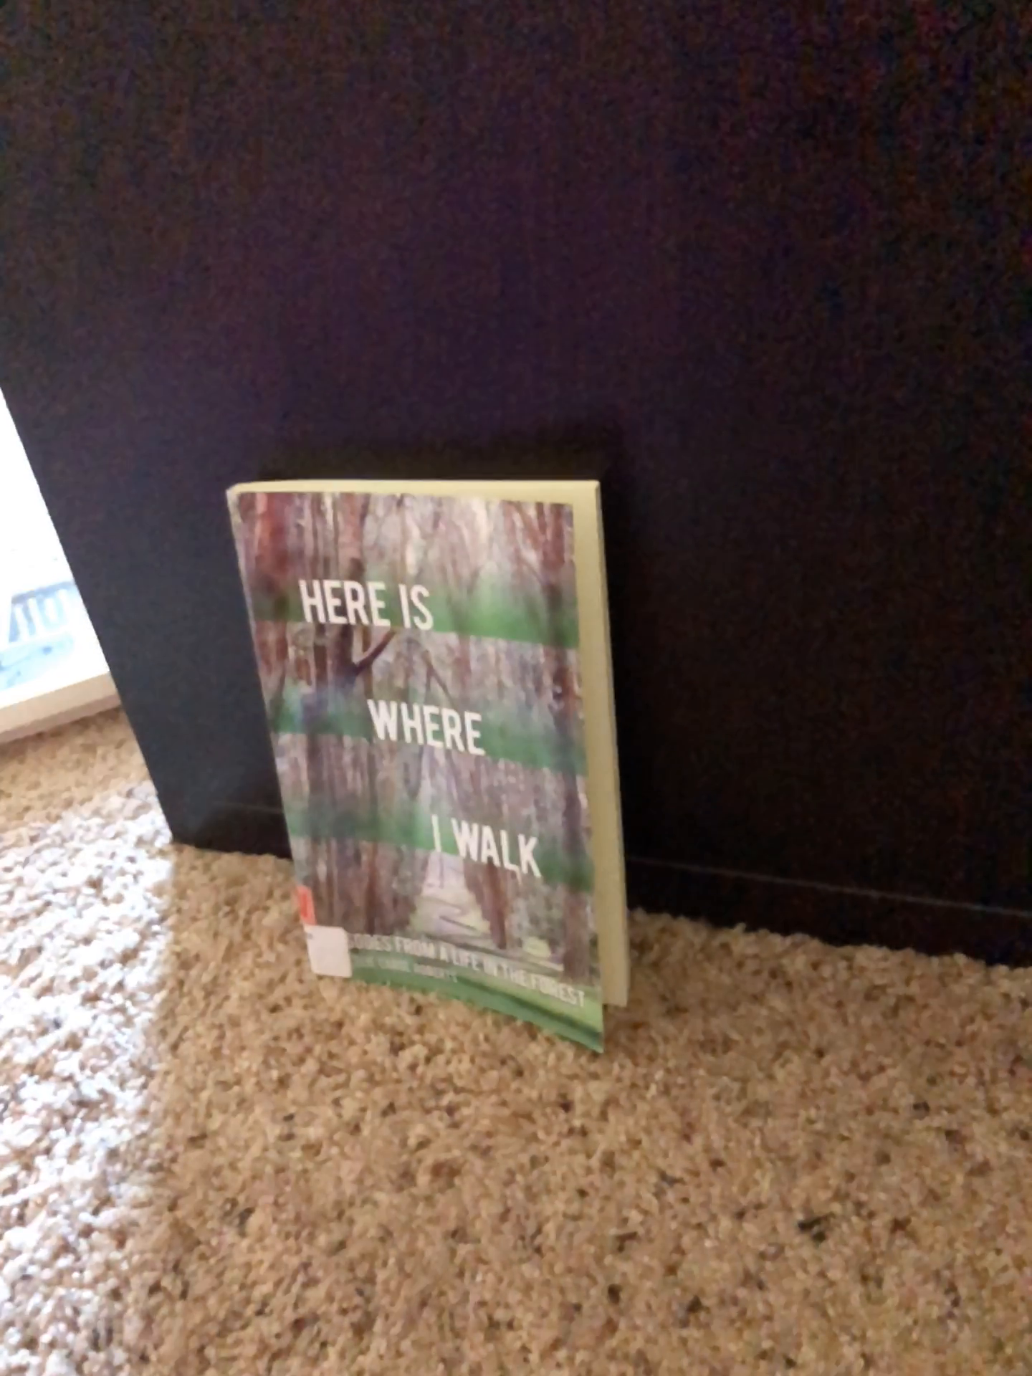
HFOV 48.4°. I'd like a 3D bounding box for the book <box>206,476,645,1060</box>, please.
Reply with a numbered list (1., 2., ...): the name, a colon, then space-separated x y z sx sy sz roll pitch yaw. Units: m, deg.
1. book: -0.029 0.029 0.434 0.146 0.212 0.037 3 21 19
